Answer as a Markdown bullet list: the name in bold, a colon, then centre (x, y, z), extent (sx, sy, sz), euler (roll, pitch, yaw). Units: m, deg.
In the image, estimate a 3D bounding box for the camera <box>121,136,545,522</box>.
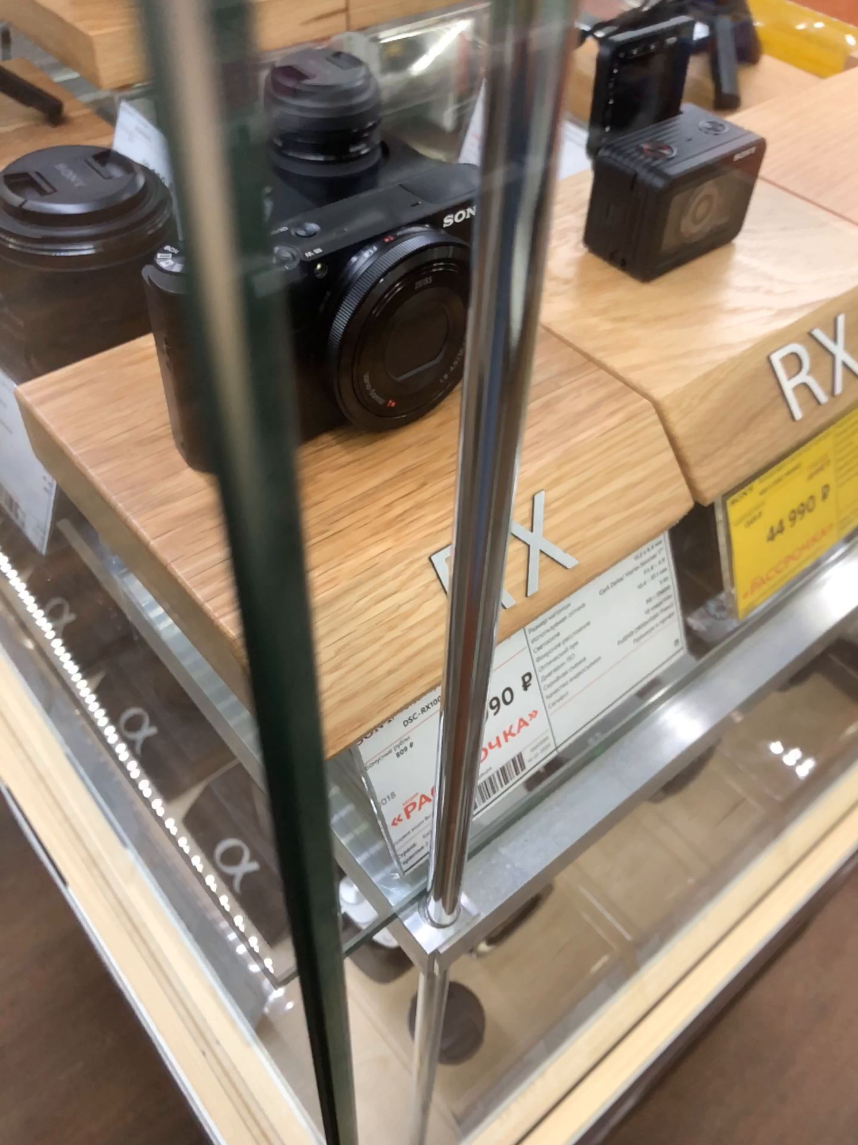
- **camera**: centre (-0.022, -0.070, 0.267), extent (0.106, 0.062, 0.037), euler (-32, 57, -27)
